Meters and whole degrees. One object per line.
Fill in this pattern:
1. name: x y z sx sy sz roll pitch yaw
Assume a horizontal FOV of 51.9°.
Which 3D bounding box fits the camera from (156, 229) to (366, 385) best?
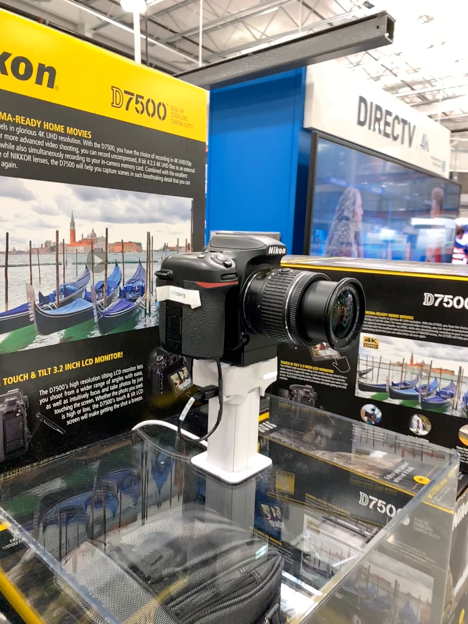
1. camera: 0.028 -0.016 0.432 0.110 0.110 0.160 8 10 40
